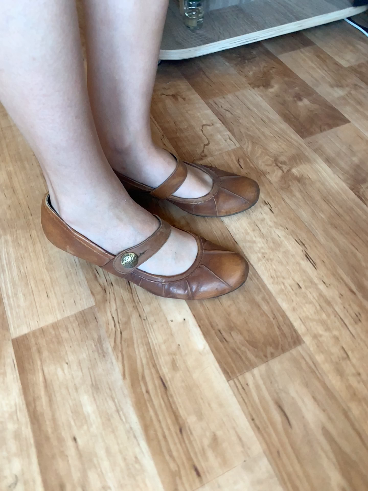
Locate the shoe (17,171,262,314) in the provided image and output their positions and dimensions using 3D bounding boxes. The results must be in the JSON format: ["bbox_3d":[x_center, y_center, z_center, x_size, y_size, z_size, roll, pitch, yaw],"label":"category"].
[{"bbox_3d":[-0.045,-0.004,0.445,0.250,0.090,0.090,11,56,7],"label":"shoe"}]

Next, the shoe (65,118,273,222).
[{"bbox_3d":[-0.016,-0.102,0.514,0.250,0.090,0.090,3,56,1],"label":"shoe"}]
